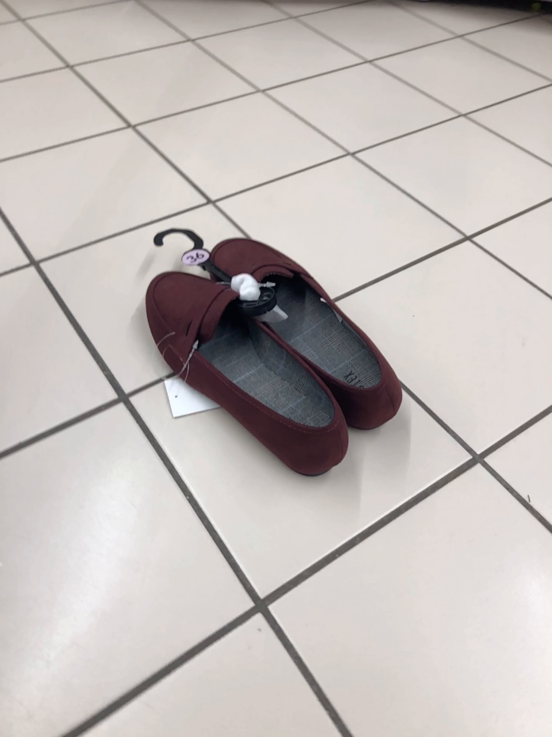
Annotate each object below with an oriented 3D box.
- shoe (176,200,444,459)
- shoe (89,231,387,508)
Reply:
[{"bbox_3d":[0.016,-0.044,0.498,0.079,0.057,0.239,-28,56,-25],"label":"shoe"},{"bbox_3d":[-0.038,-0.011,0.465,0.079,0.056,0.239,-35,59,-29],"label":"shoe"}]
